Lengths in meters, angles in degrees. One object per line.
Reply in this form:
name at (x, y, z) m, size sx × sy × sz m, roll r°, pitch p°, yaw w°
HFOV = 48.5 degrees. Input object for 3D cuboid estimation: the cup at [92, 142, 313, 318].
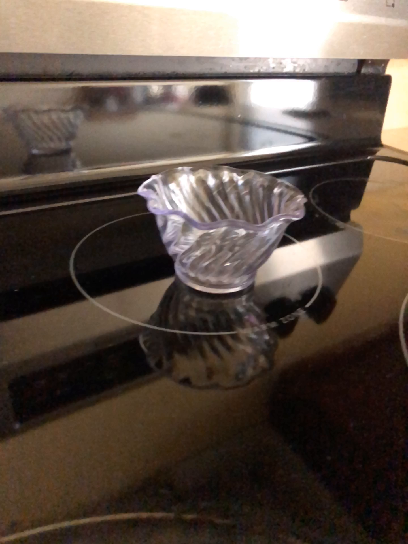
cup at (0.005, -0.032, 0.267) m, size 0.100 × 0.052 × 0.101 m, roll 3°, pitch 30°, yaw -2°
